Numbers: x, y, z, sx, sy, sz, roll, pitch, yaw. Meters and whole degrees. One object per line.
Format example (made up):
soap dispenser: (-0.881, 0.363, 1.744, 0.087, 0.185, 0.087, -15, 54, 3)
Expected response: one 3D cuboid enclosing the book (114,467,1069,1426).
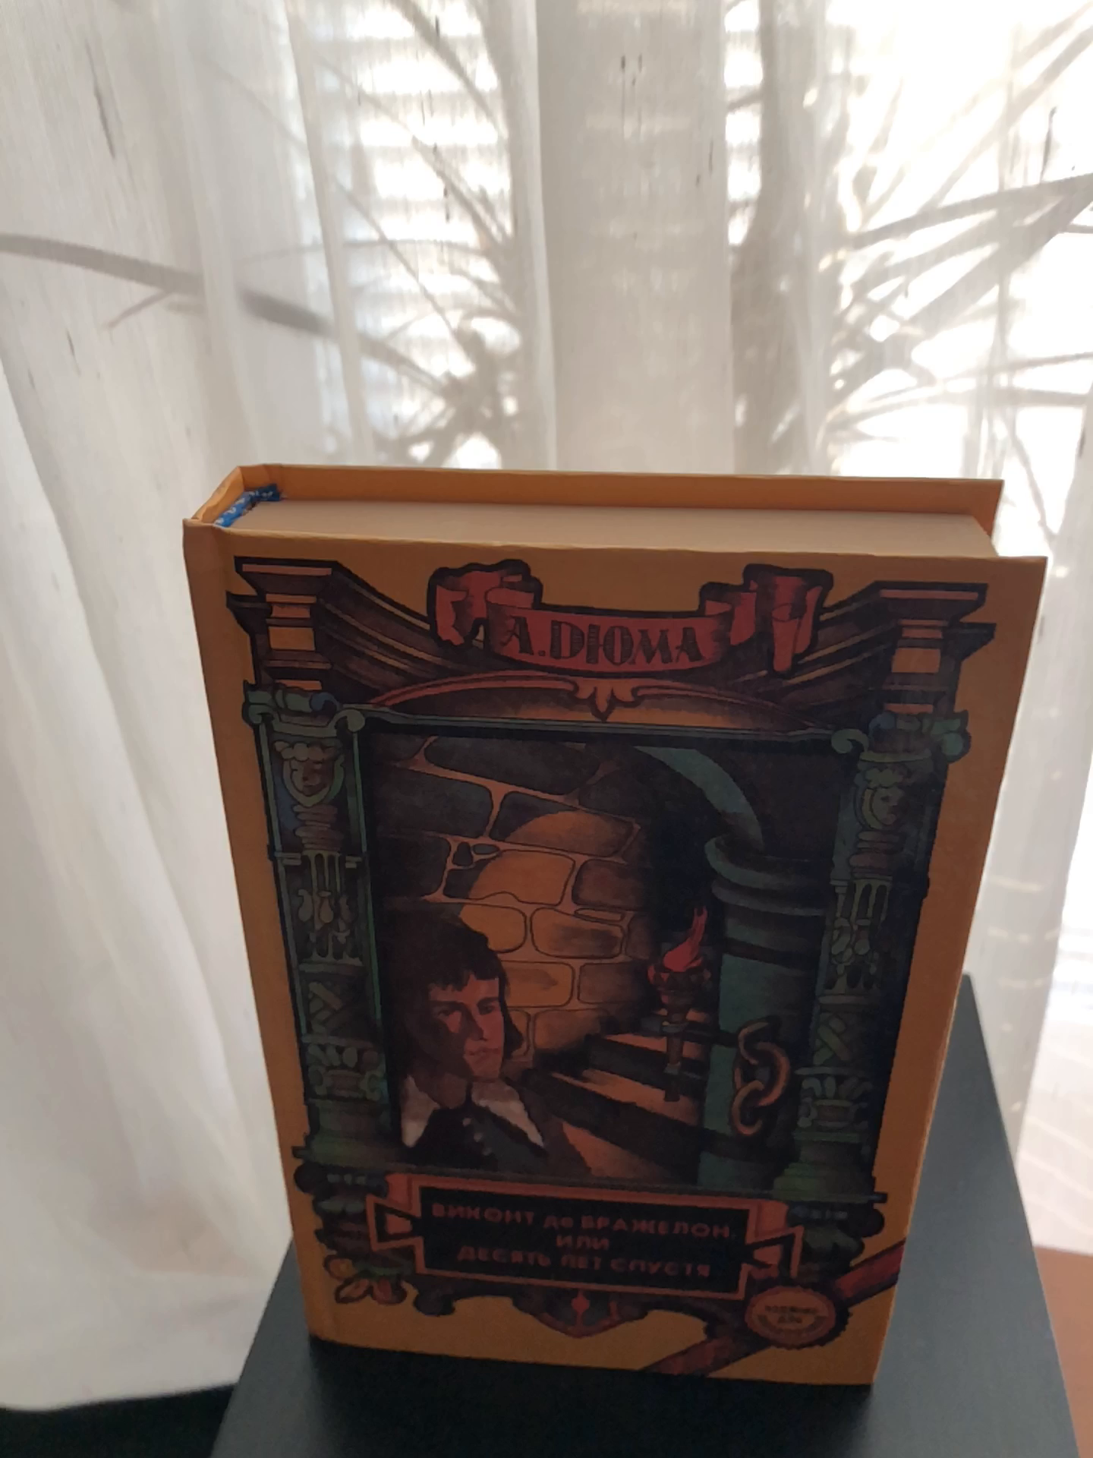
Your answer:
book: (0.008, 0.051, 0.245, 0.141, 0.198, 0.040, 2, 28, 7)
